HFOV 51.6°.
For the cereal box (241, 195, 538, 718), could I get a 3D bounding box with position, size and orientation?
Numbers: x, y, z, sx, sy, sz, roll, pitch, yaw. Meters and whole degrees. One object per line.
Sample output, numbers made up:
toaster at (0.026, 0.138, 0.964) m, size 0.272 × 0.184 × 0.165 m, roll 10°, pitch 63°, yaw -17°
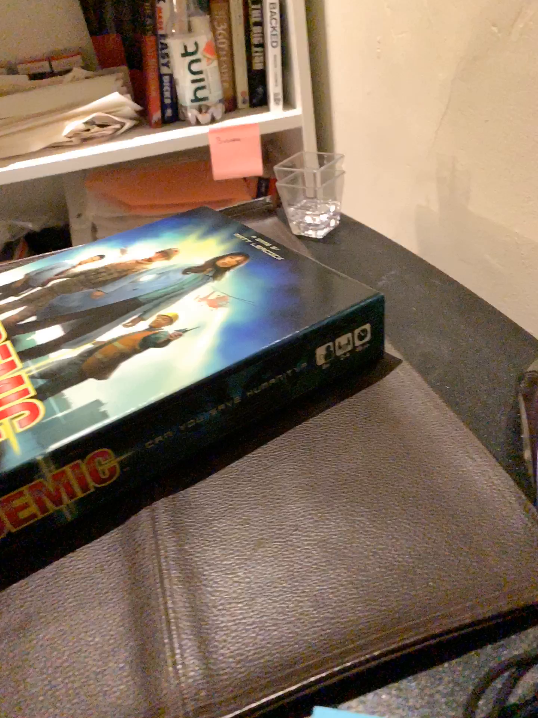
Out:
cereal box at (0.352, 0.257, 1.110) m, size 0.471 × 0.994 × 0.512 m, roll 10°, pitch 39°, yaw 27°
